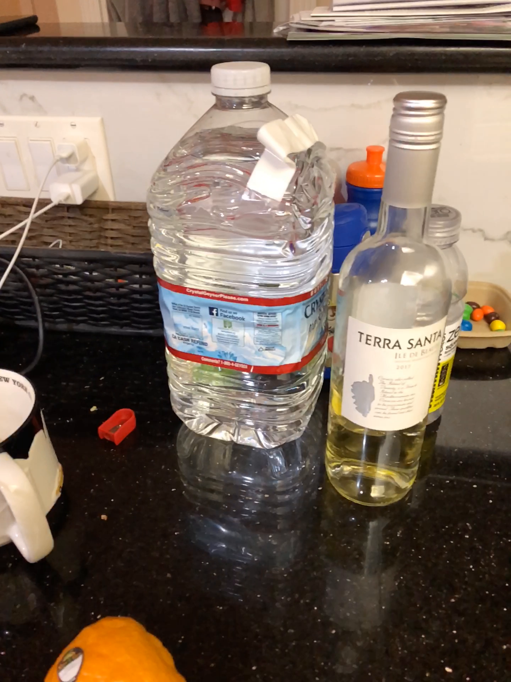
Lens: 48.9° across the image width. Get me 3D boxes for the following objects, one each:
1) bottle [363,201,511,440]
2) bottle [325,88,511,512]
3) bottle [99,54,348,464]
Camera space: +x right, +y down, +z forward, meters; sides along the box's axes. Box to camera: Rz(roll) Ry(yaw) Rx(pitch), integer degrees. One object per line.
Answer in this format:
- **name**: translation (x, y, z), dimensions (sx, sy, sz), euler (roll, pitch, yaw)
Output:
- **bottle**: translation (0.143, -0.015, 0.443), dimensions (0.070, 0.159, 0.070), euler (0, 33, 0)
- **bottle**: translation (0.090, -0.012, 0.364), dimensions (0.070, 0.268, 0.070), euler (0, 33, 0)
- **bottle**: translation (-0.010, -0.063, 0.448), dimensions (0.130, 0.278, 0.141), euler (0, 33, 0)
